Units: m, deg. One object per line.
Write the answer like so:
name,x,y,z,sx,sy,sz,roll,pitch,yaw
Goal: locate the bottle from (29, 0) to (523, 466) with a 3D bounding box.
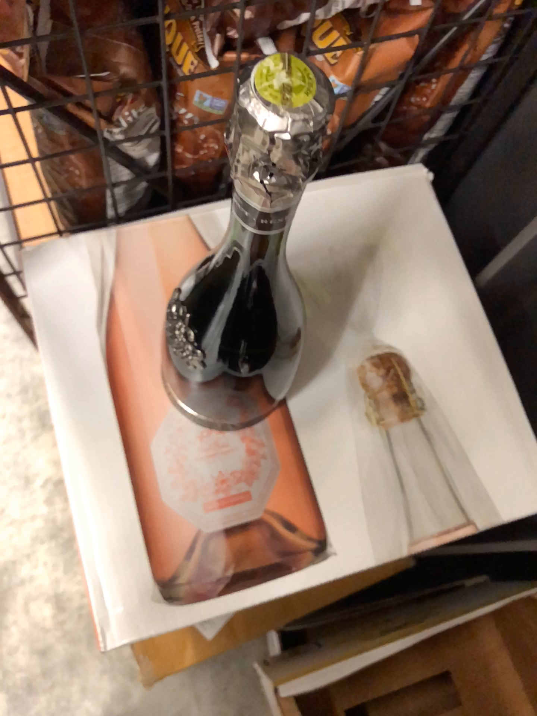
bottle,-0.018,-0.044,0.342,0.110,0.333,0.122,-25,76,-15
